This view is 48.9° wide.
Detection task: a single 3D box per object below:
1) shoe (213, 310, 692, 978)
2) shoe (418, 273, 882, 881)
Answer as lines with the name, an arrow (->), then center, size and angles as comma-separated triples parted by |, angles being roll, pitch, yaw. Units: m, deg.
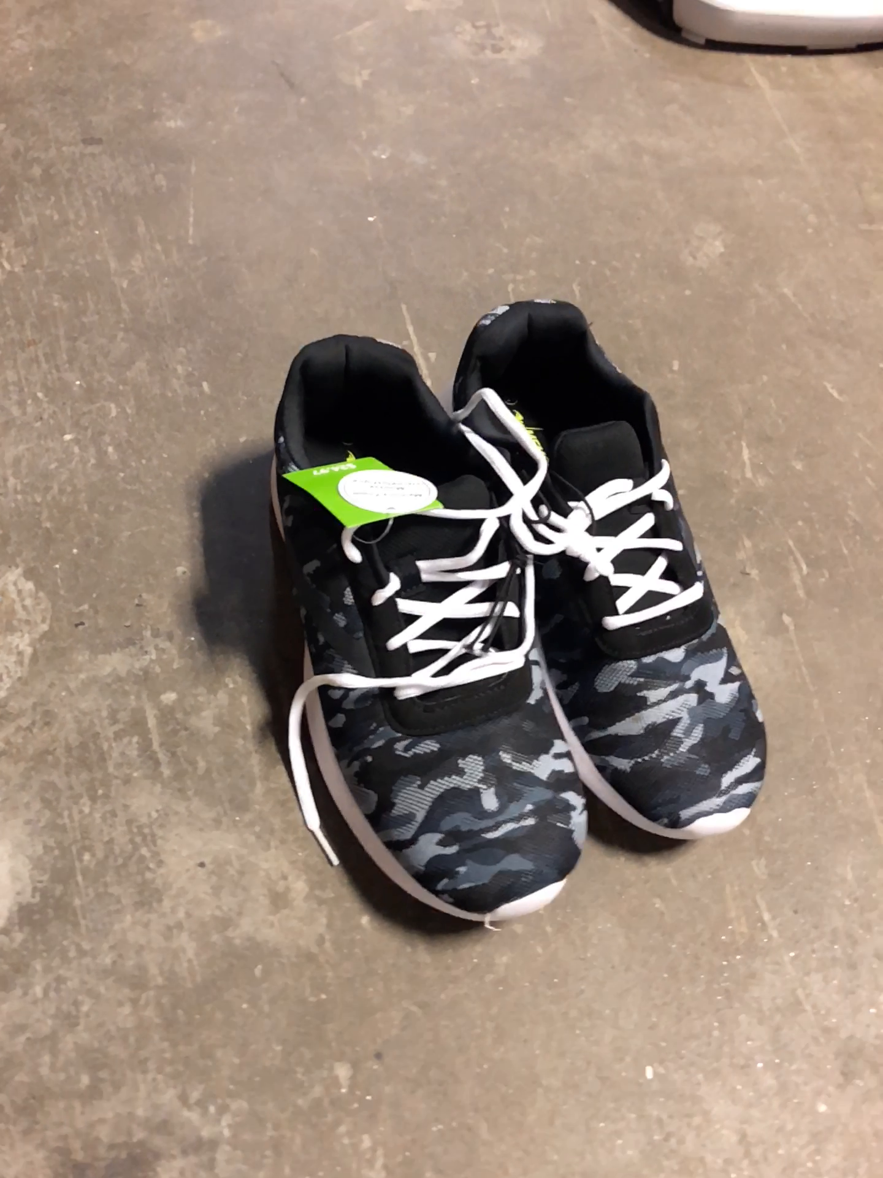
shoe -> -0.015, 0.018, 0.457 | 0.110, 0.139, 0.261 | -15, 59, -16
shoe -> 0.095, -0.014, 0.502 | 0.120, 0.139, 0.261 | -15, 59, -16
